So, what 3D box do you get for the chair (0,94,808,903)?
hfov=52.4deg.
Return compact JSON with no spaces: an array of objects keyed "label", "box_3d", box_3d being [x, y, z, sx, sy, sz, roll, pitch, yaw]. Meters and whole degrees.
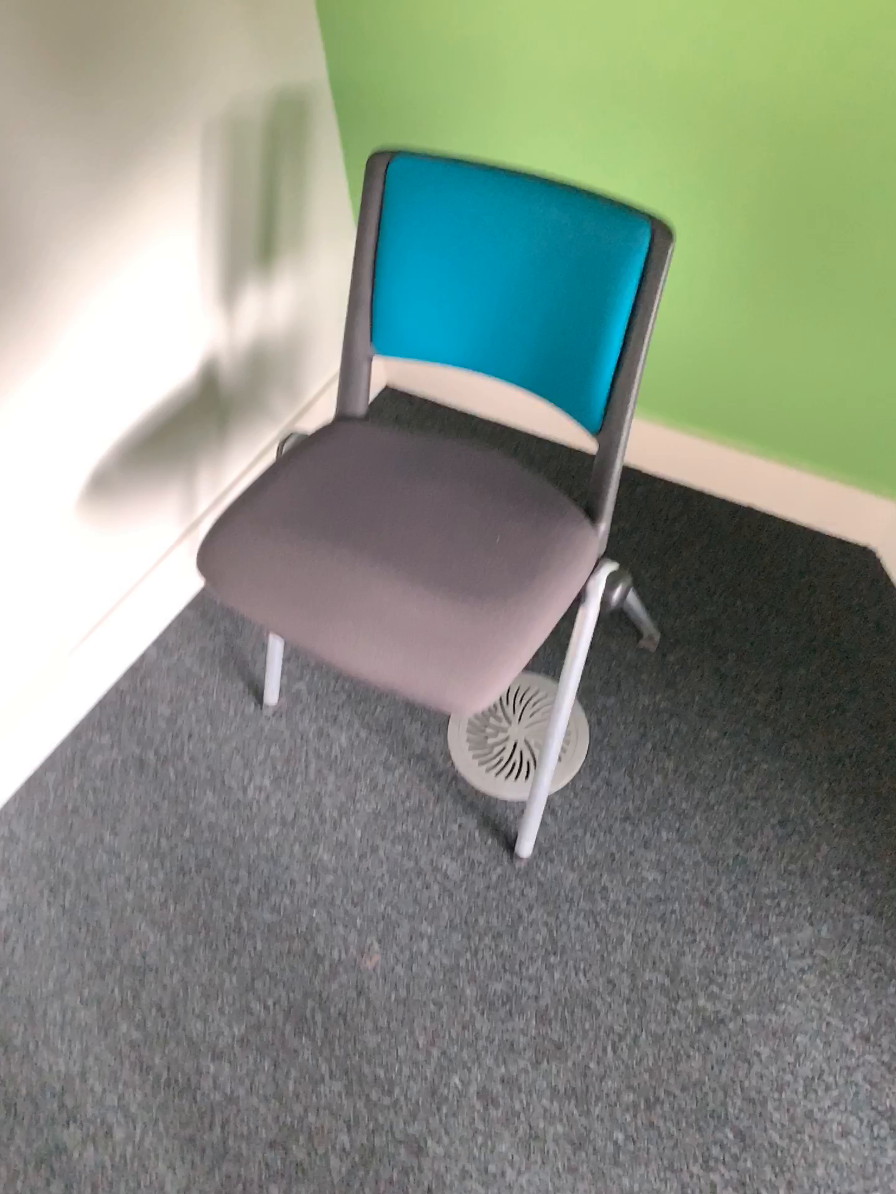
[{"label":"chair","box_3d":[-0.007,-0.114,1.139,0.582,0.665,0.553,24,59,22]}]
